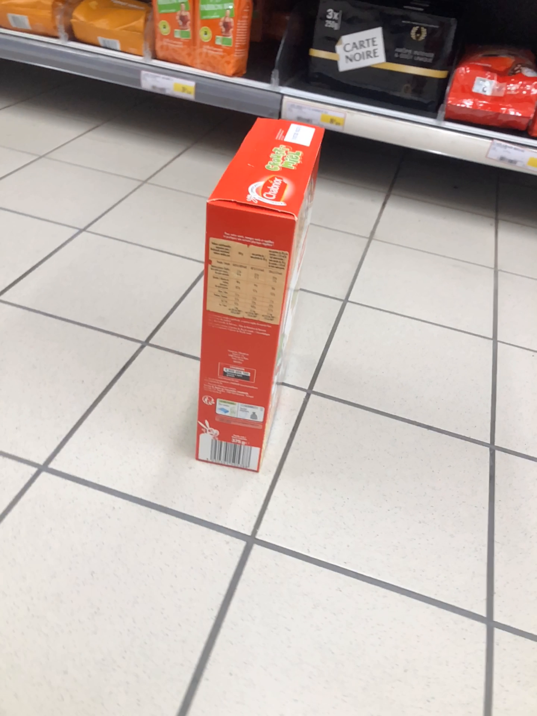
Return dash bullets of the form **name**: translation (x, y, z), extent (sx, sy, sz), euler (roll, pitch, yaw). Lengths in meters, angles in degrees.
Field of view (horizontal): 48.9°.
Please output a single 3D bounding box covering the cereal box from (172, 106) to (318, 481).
- **cereal box**: translation (-0.022, -0.058, 0.541), extent (0.070, 0.268, 0.201), euler (11, 38, 4)
